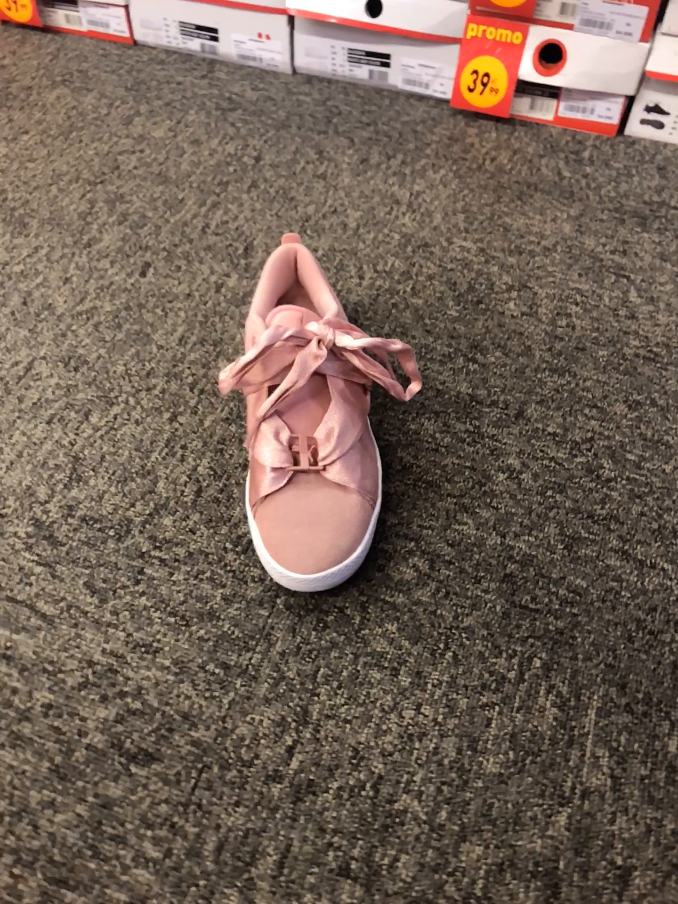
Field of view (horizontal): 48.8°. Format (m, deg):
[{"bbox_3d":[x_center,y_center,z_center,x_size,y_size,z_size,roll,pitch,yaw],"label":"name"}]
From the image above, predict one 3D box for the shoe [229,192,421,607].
[{"bbox_3d":[-0.010,-0.041,0.497,0.100,0.100,0.263,-1,60,-1],"label":"shoe"}]
